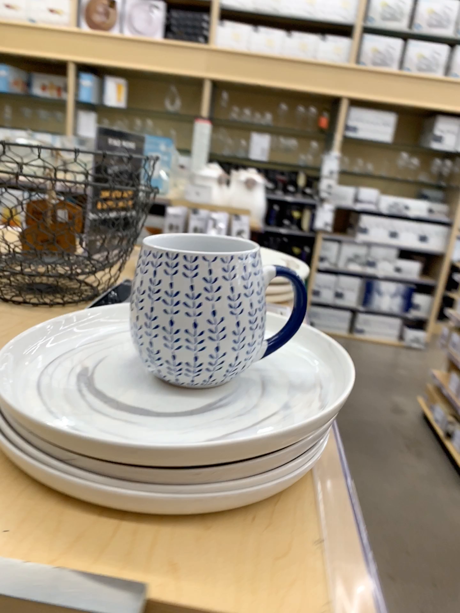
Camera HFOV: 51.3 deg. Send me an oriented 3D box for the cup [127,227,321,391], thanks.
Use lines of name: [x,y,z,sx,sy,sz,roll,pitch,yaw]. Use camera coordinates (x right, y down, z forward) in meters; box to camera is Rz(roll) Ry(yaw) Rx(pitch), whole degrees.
cup: [-0.014,-0.003,0.381,0.128,0.097,0.104,1,18,-14]
